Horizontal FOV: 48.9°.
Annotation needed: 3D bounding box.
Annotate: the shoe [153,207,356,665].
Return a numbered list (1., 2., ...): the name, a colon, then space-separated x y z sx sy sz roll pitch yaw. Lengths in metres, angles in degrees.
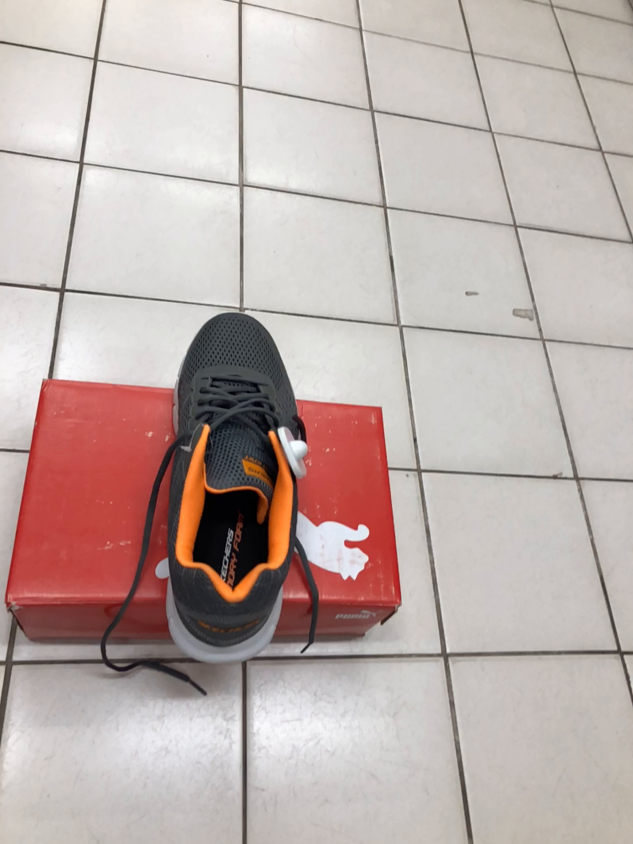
1. shoe: -0.054 0.010 0.529 0.110 0.139 0.311 5 61 -14
